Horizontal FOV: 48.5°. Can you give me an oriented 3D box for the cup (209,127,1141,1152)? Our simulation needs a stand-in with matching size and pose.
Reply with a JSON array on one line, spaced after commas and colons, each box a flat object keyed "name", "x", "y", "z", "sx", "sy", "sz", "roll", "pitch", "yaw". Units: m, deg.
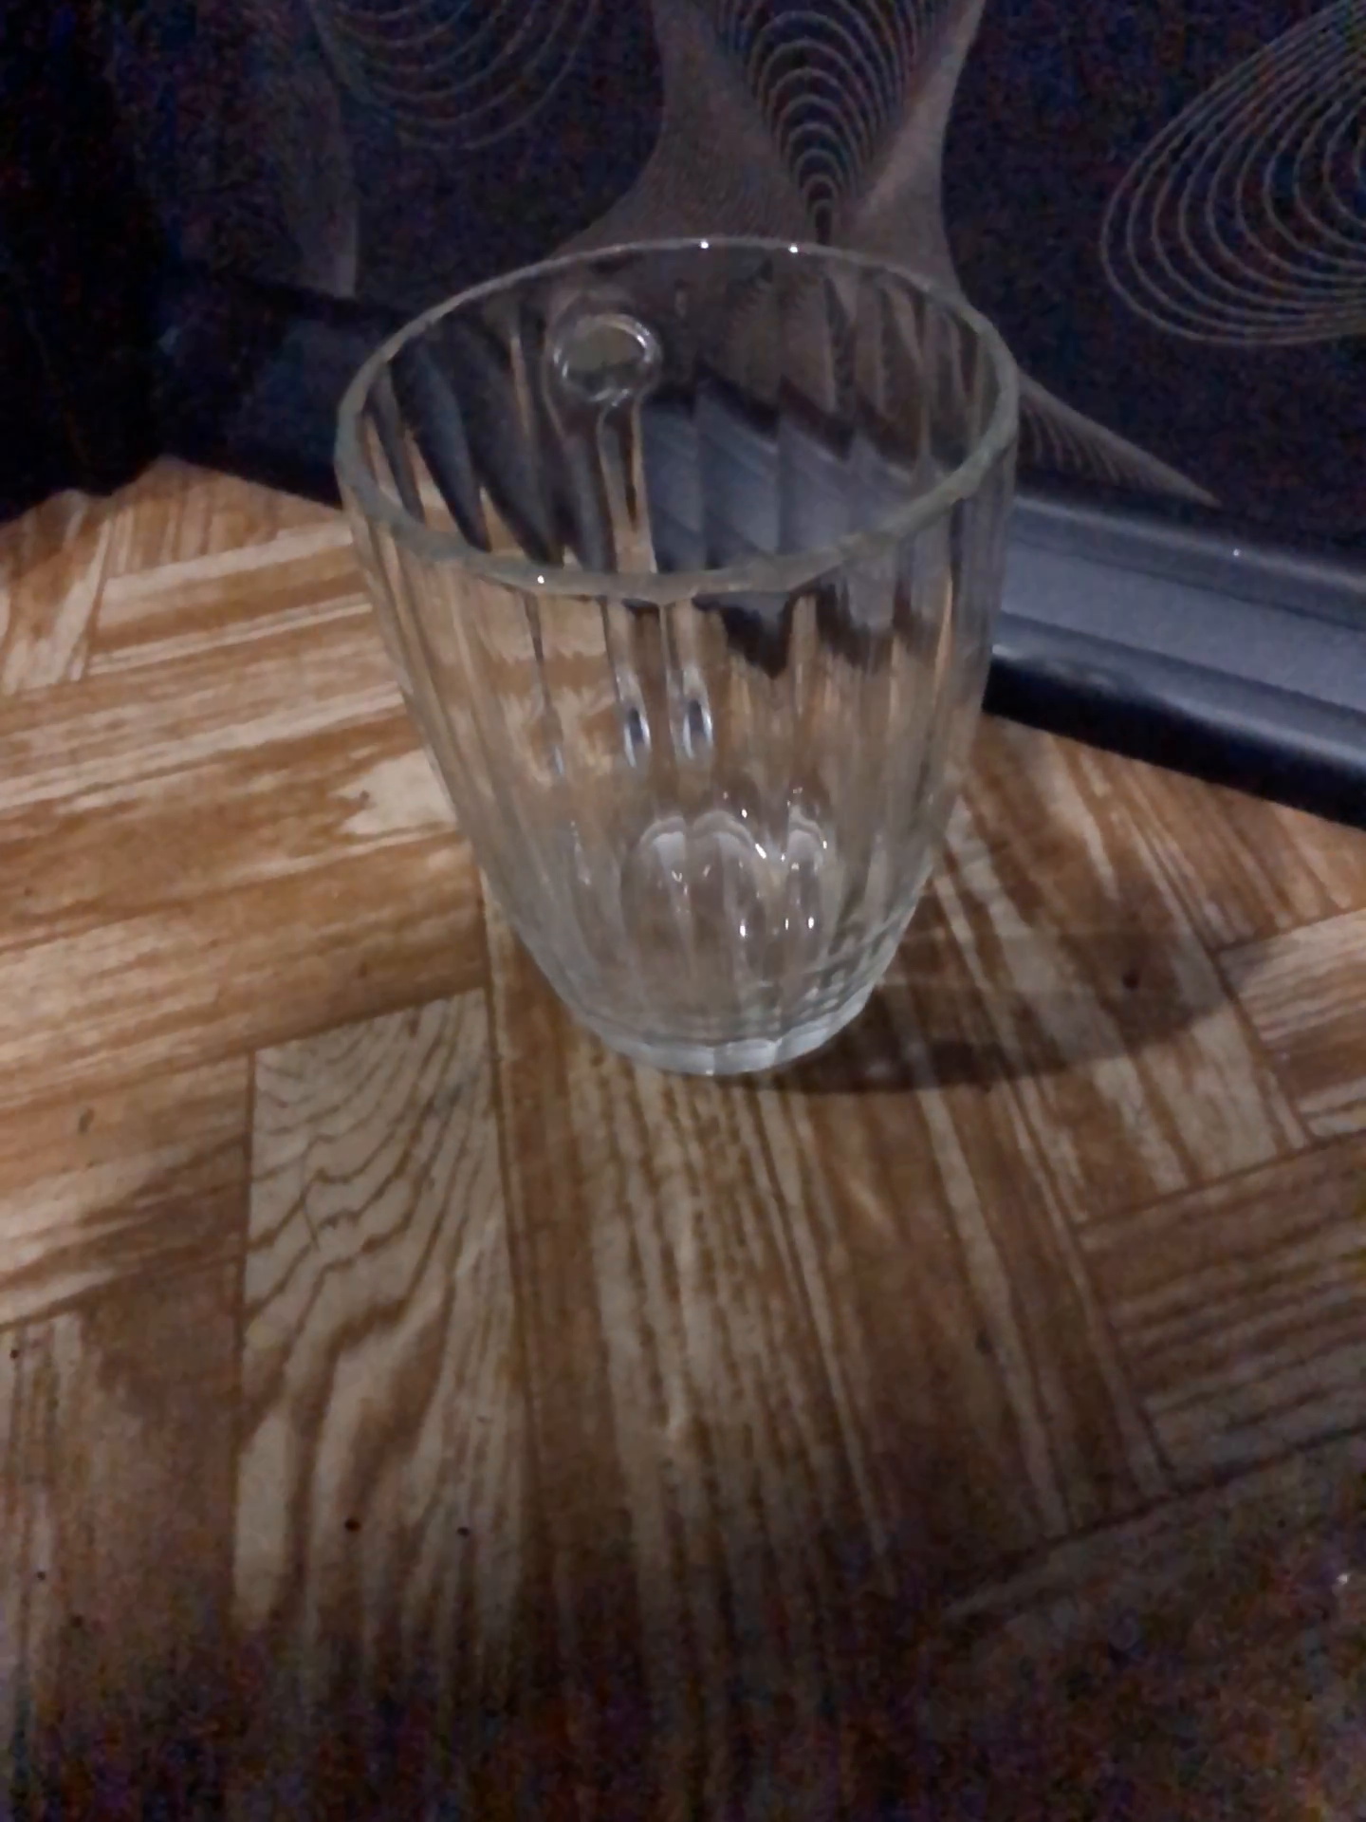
[{"name": "cup", "x": -0.006, "y": -0.050, "z": 0.264, "sx": 0.113, "sy": 0.107, "sz": 0.126, "roll": -10, "pitch": 46, "yaw": -3}]
